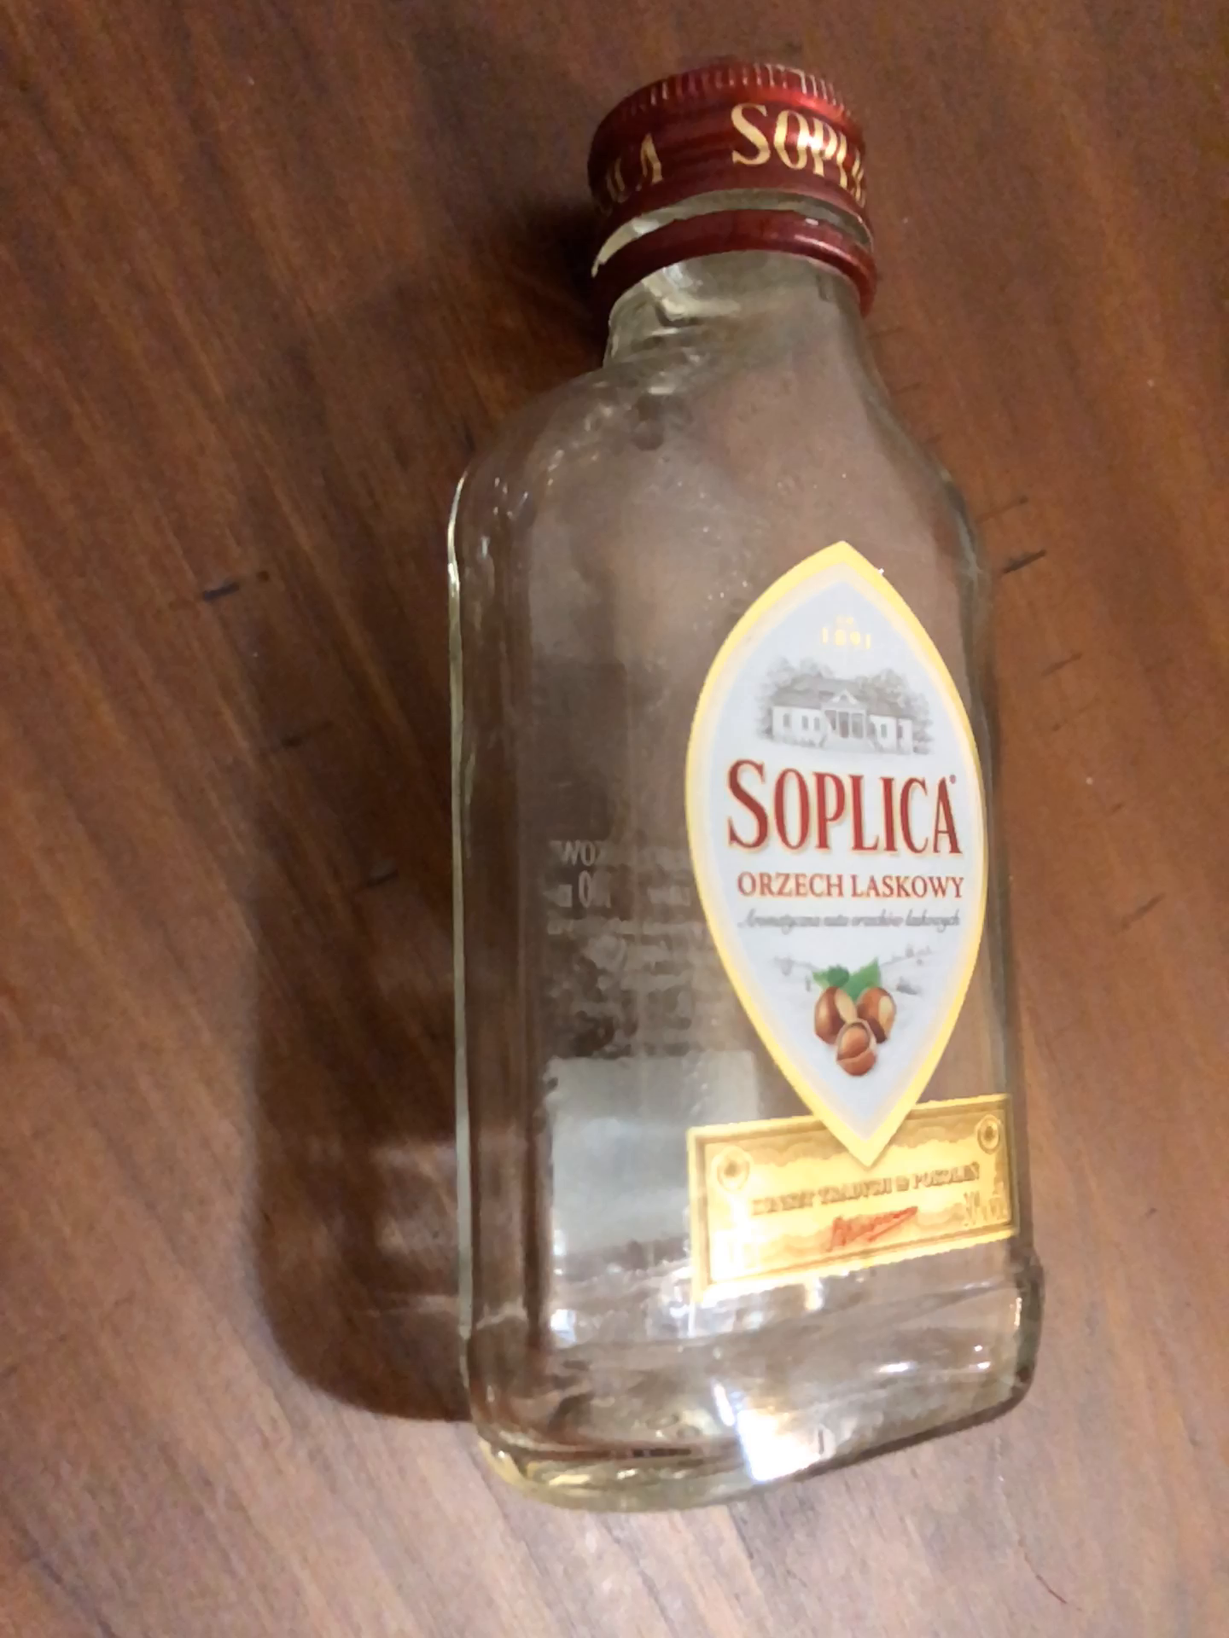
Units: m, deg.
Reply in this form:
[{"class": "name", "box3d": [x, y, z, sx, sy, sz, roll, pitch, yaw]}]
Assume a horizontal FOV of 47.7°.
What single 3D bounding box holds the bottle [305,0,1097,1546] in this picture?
[{"class": "bottle", "box3d": [0.009, -0.017, 0.145, 0.070, 0.030, 0.150, 2, 81, -35]}]
